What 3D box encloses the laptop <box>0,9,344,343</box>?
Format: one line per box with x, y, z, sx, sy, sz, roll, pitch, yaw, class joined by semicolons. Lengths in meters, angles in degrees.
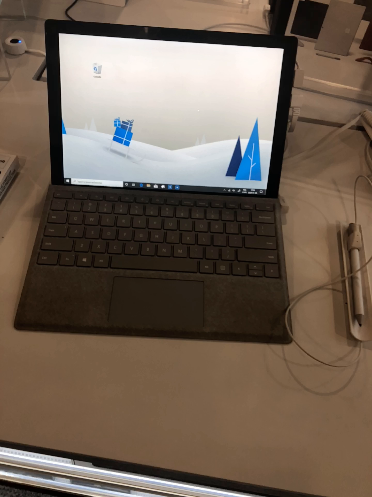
-0.023;-0.084;0.451;0.285;0.150;0.308;3;58;-3;laptop
